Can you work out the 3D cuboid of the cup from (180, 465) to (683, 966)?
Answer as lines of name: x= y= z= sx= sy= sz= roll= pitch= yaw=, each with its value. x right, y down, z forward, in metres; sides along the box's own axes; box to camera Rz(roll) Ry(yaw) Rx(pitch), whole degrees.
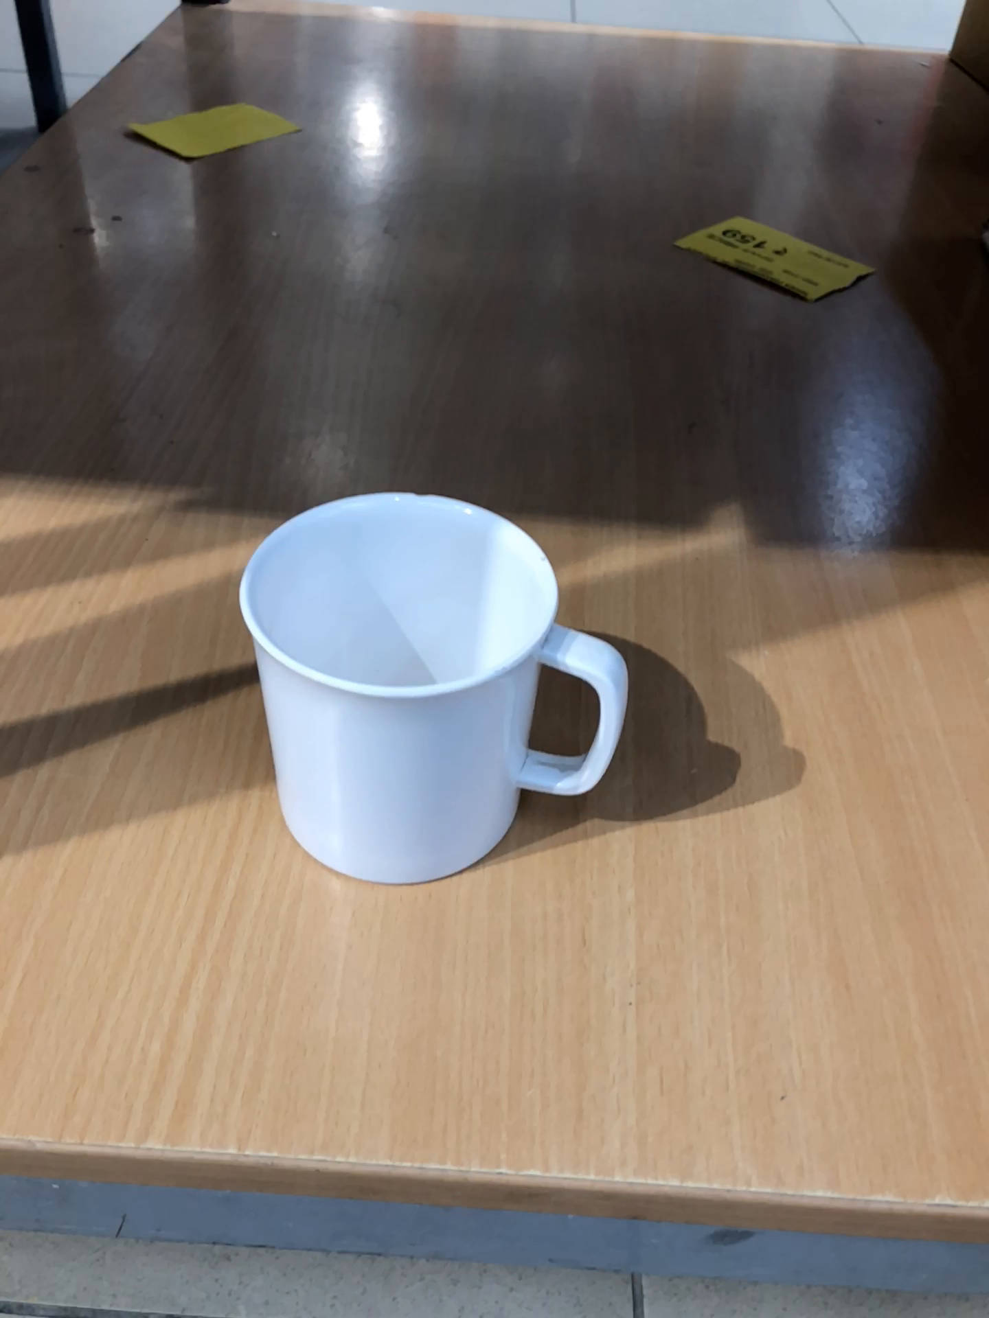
cup: x=-0.015 y=0.014 z=0.316 sx=0.110 sy=0.089 sz=0.081 roll=14 pitch=43 yaw=10
